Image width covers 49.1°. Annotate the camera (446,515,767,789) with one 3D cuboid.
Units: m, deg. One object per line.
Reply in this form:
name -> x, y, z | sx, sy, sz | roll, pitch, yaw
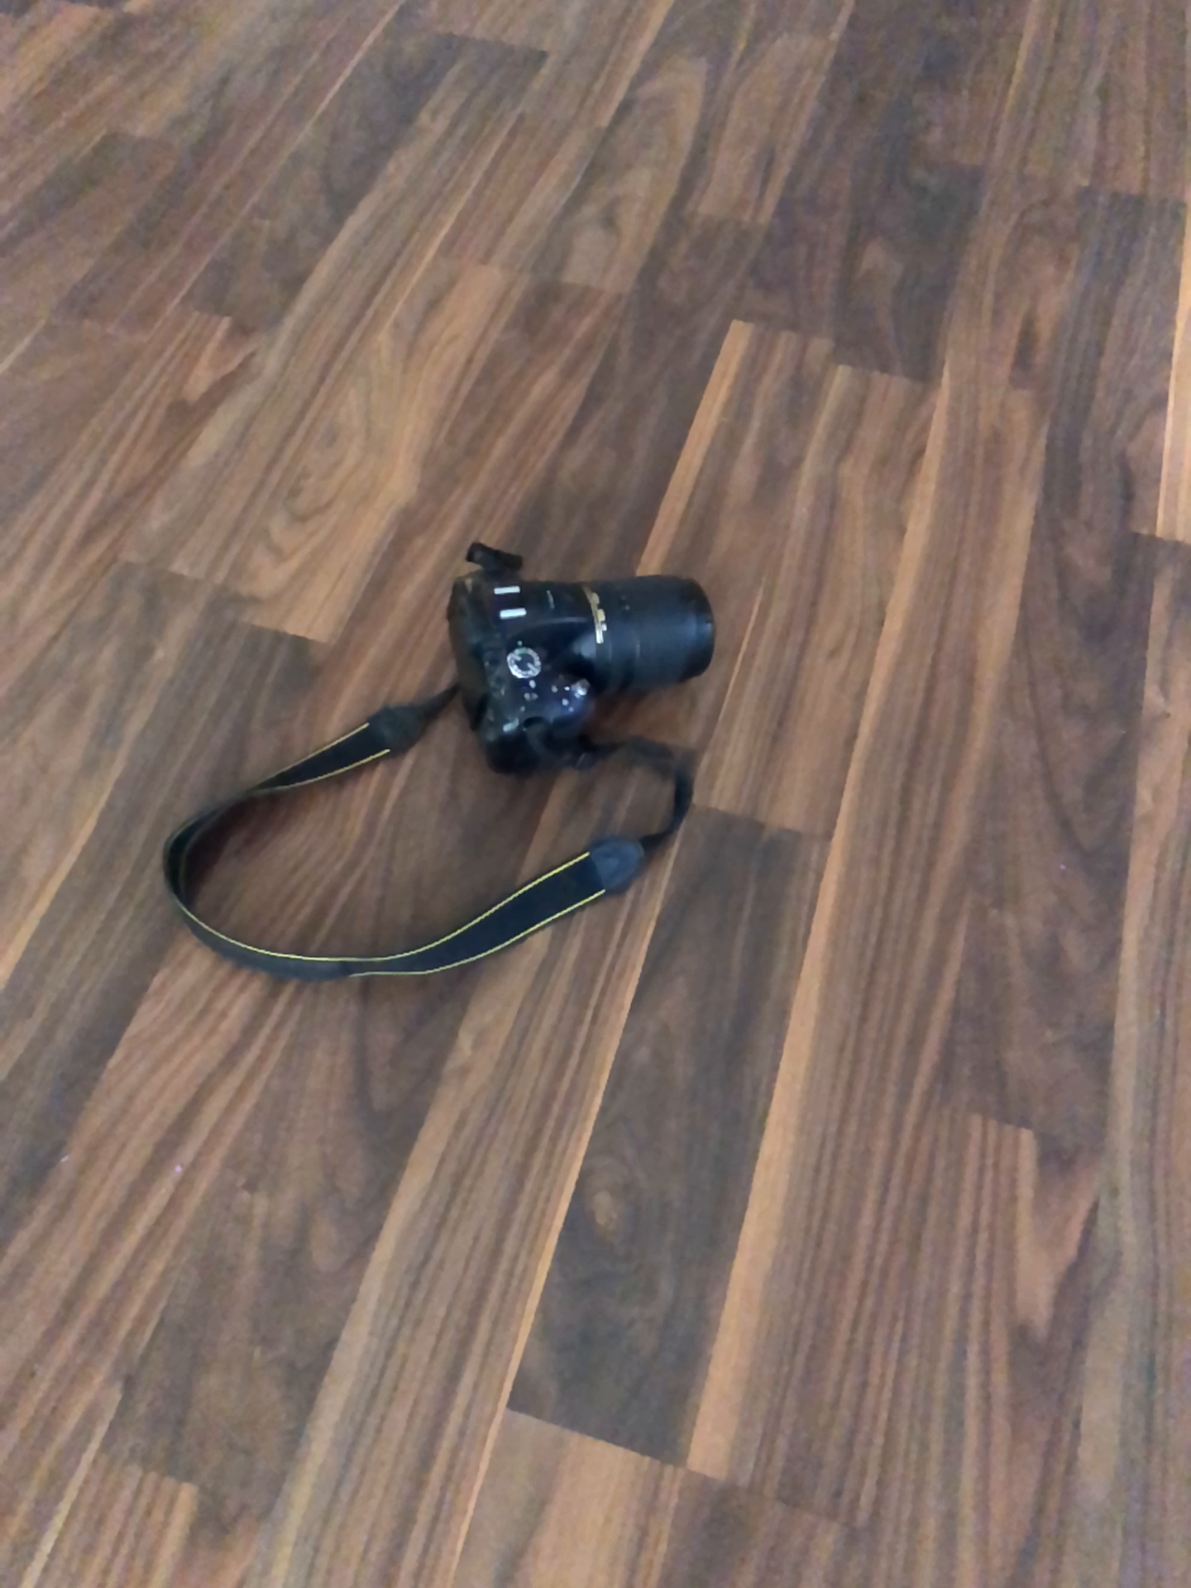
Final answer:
camera -> 0.004, -0.088, 0.791 | 0.160, 0.070, 0.120 | -13, 56, -10
